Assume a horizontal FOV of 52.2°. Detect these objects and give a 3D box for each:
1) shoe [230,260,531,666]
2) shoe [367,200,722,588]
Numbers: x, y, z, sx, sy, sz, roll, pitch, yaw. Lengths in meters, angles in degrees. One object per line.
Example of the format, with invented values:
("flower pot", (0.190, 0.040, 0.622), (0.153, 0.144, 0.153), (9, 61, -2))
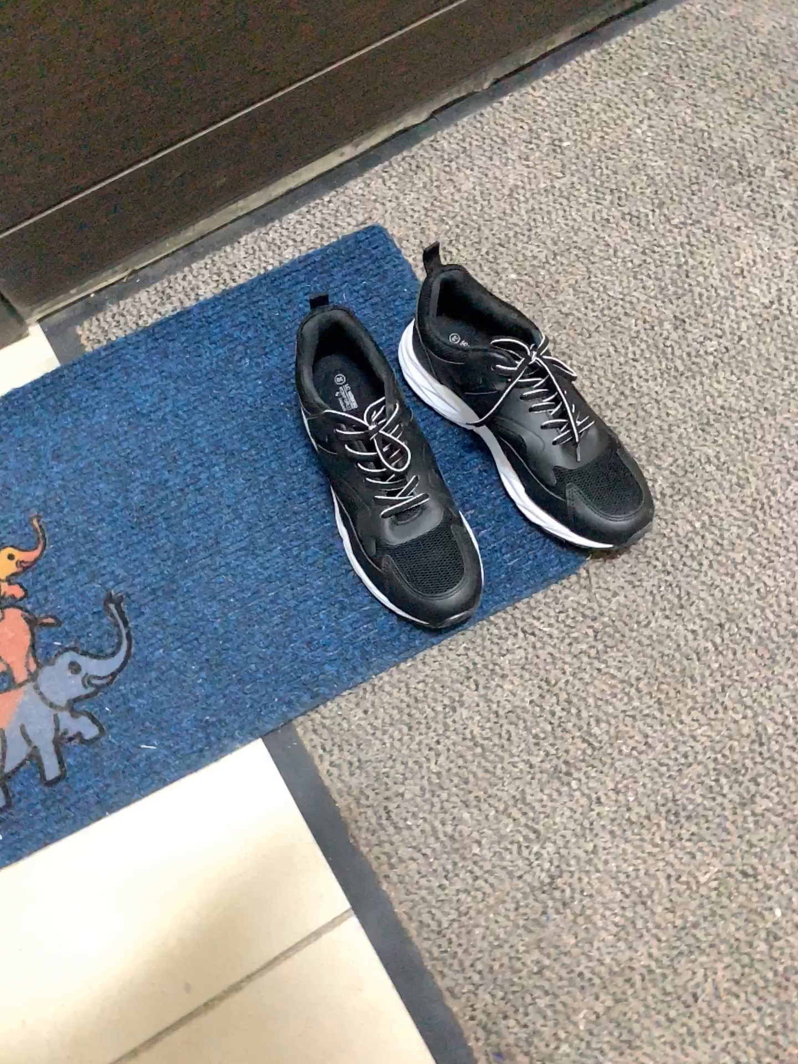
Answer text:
("shoe", (-0.016, -0.051, 0.600), (0.110, 0.100, 0.260), (-24, 70, -4))
("shoe", (0.098, -0.104, 0.614), (0.110, 0.100, 0.260), (-33, 71, -7))
